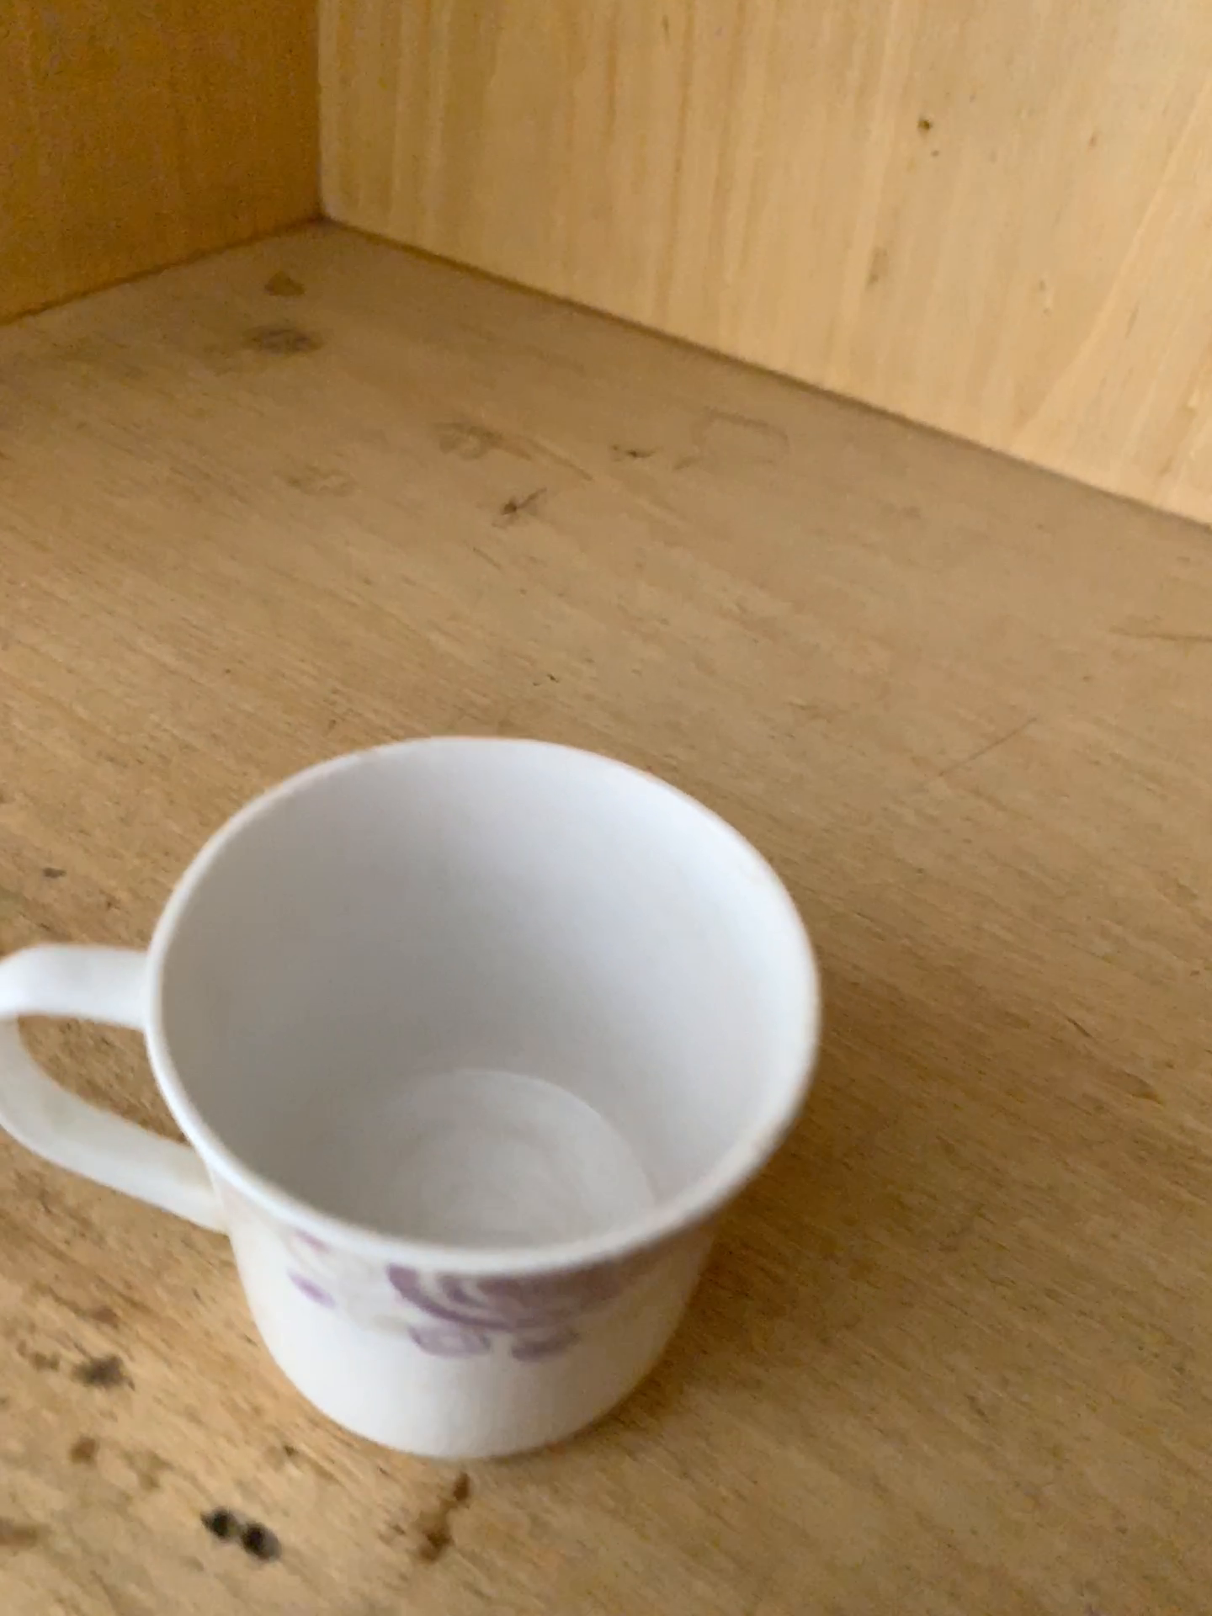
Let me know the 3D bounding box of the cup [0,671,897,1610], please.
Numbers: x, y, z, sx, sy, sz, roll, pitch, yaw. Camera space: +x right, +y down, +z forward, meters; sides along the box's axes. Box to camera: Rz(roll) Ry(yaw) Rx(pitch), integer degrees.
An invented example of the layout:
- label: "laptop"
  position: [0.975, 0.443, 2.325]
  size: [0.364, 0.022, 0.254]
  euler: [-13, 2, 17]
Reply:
- label: "cup"
  position: [-0.025, 0.038, 0.145]
  size: [0.090, 0.069, 0.071]
  euler: [6, 42, -3]
